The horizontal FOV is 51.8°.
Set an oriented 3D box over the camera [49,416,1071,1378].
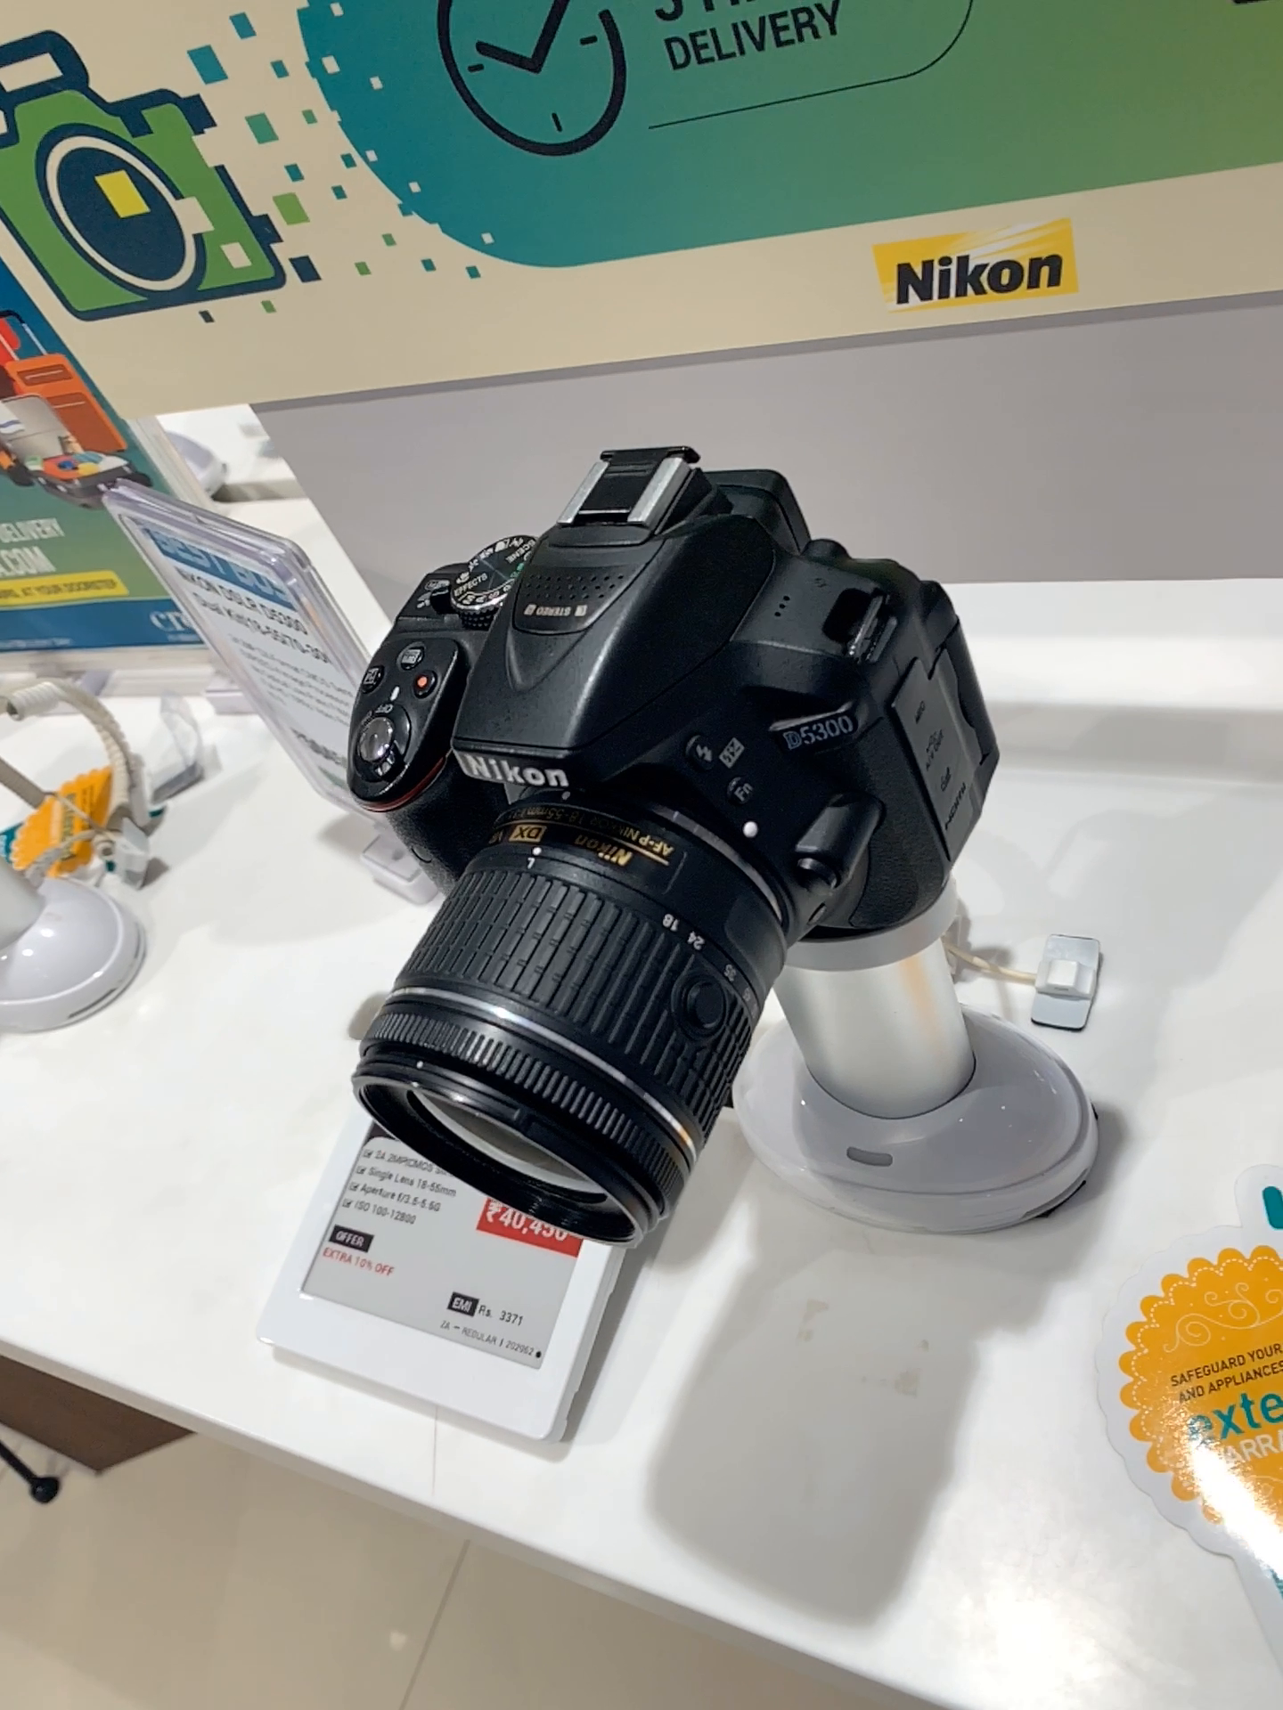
[{"bbox_3d":[-0.001,0.000,0.230,0.118,0.082,0.123,5,53,28],"label":"camera"}]
